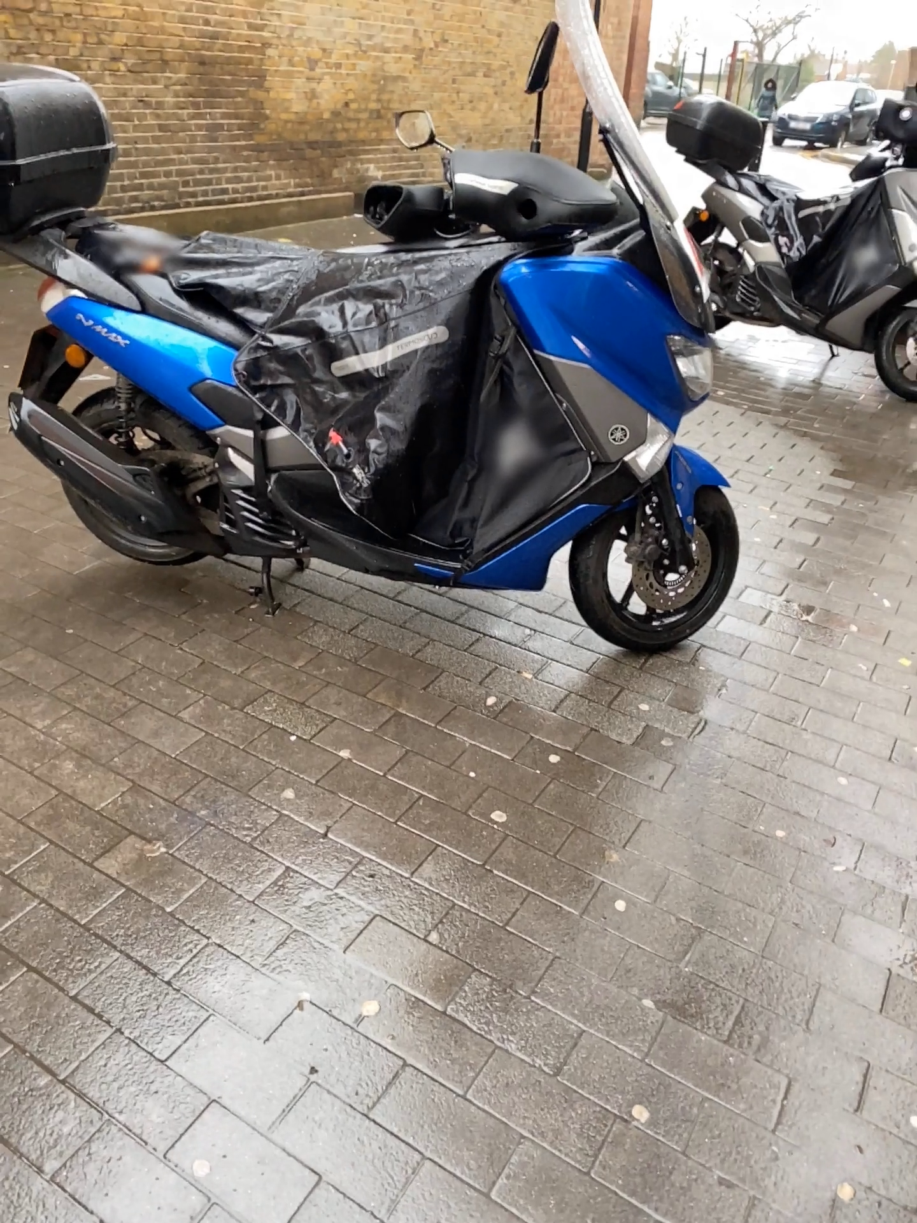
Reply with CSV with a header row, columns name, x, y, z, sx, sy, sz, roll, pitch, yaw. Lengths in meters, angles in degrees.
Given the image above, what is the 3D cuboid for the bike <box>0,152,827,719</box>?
name,x,y,z,sx,sy,sz,roll,pitch,yaw
bike,-0.182,-0.451,2.186,1.730,0.998,0.682,6,29,6
